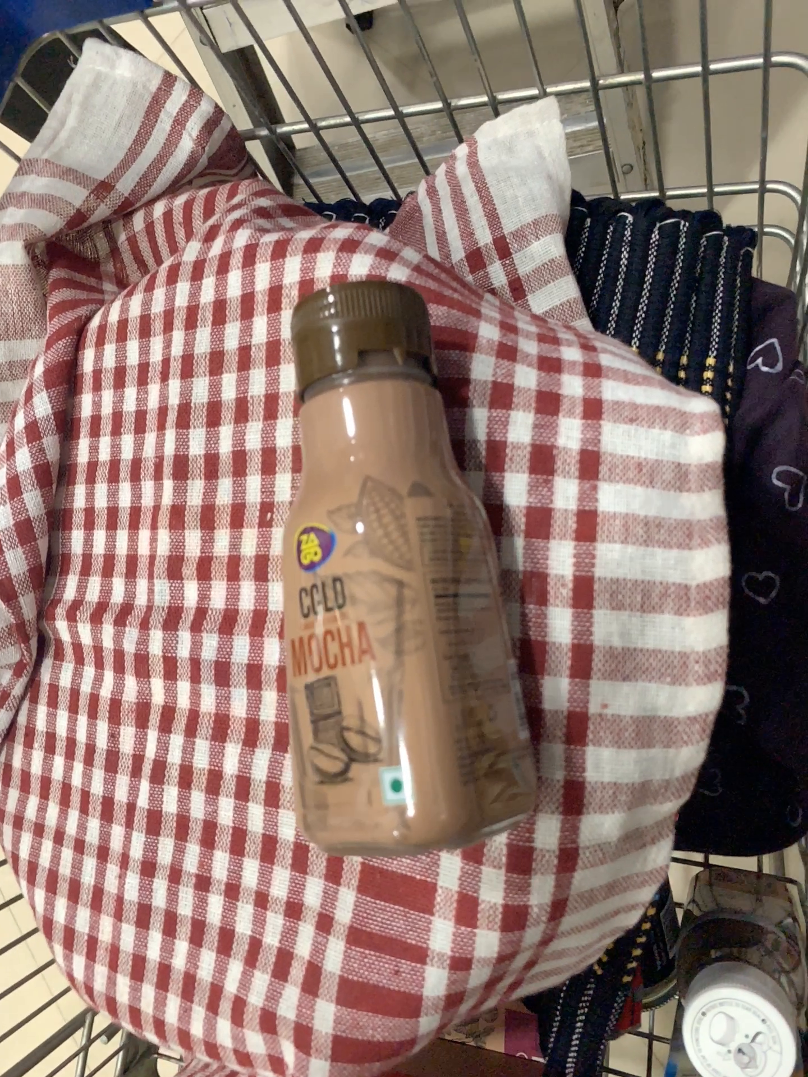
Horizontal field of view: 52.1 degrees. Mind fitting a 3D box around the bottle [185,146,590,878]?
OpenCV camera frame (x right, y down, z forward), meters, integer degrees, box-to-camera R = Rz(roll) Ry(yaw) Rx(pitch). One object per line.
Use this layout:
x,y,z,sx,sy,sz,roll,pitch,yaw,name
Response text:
-0.005,-0.004,0.232,0.060,0.070,0.170,-15,79,35,bottle
